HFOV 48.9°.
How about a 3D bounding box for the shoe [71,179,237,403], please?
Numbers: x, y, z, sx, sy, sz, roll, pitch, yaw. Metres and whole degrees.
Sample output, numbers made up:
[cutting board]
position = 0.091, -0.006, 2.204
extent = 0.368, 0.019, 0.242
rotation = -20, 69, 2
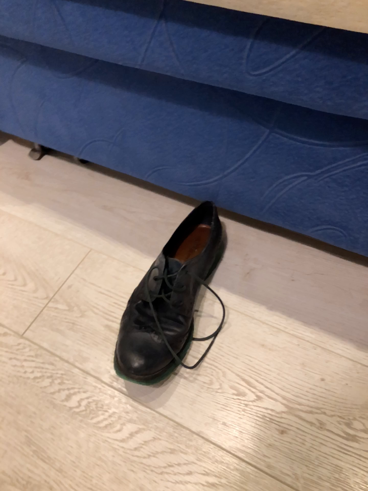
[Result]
[shoe]
position = -0.020, 0.043, 0.502
extent = 0.095, 0.089, 0.251
rotation = 15, 56, 17
